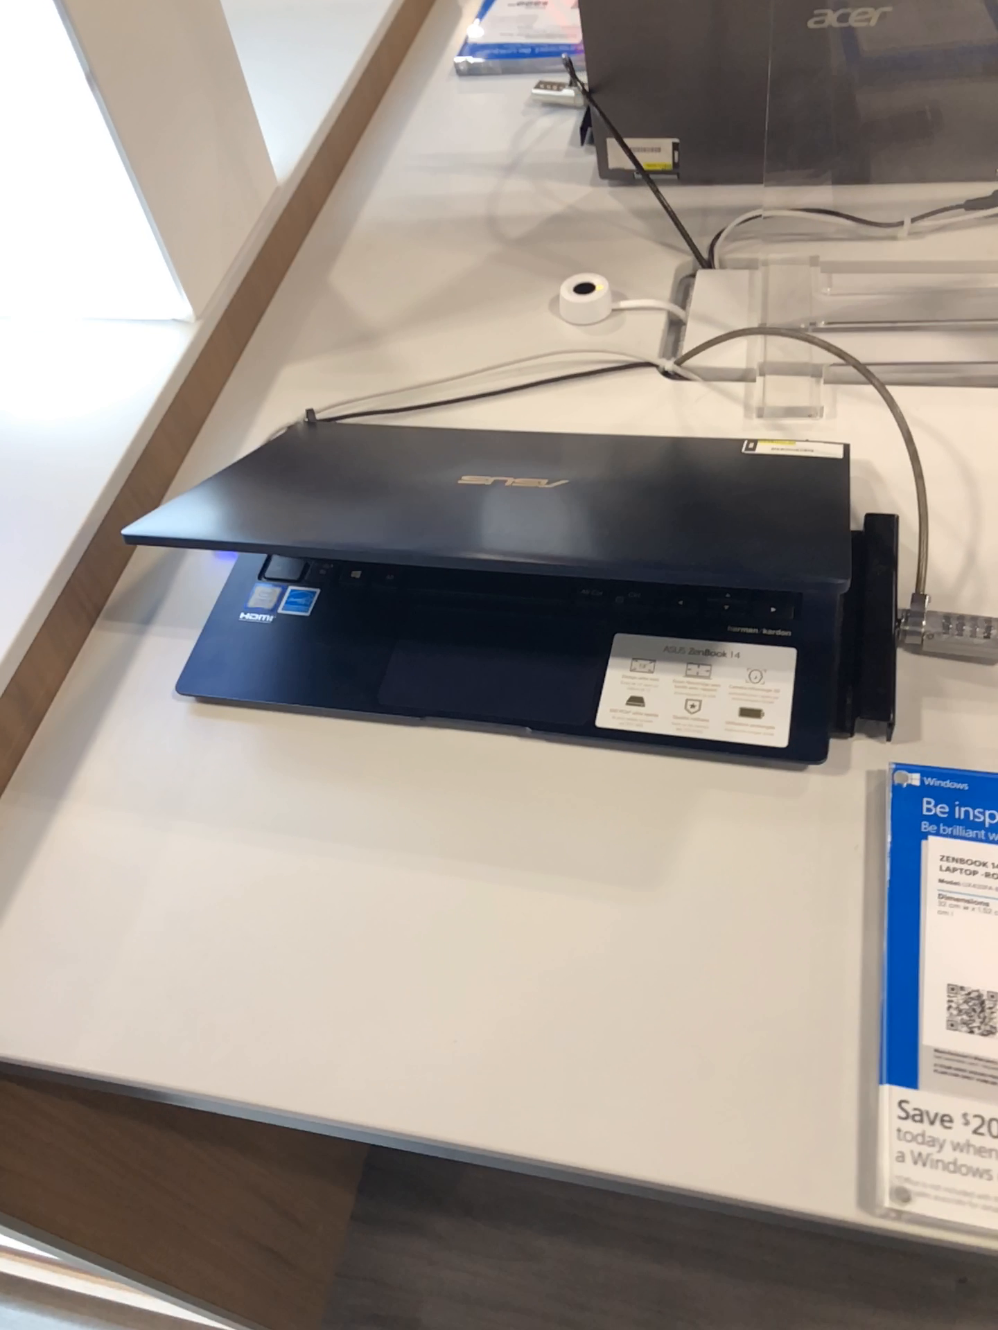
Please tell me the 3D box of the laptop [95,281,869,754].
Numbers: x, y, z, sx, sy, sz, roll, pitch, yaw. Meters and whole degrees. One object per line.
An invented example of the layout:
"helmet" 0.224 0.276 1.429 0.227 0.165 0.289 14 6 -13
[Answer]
"laptop" 0.007 -0.084 0.528 0.310 0.095 0.203 6 52 14
